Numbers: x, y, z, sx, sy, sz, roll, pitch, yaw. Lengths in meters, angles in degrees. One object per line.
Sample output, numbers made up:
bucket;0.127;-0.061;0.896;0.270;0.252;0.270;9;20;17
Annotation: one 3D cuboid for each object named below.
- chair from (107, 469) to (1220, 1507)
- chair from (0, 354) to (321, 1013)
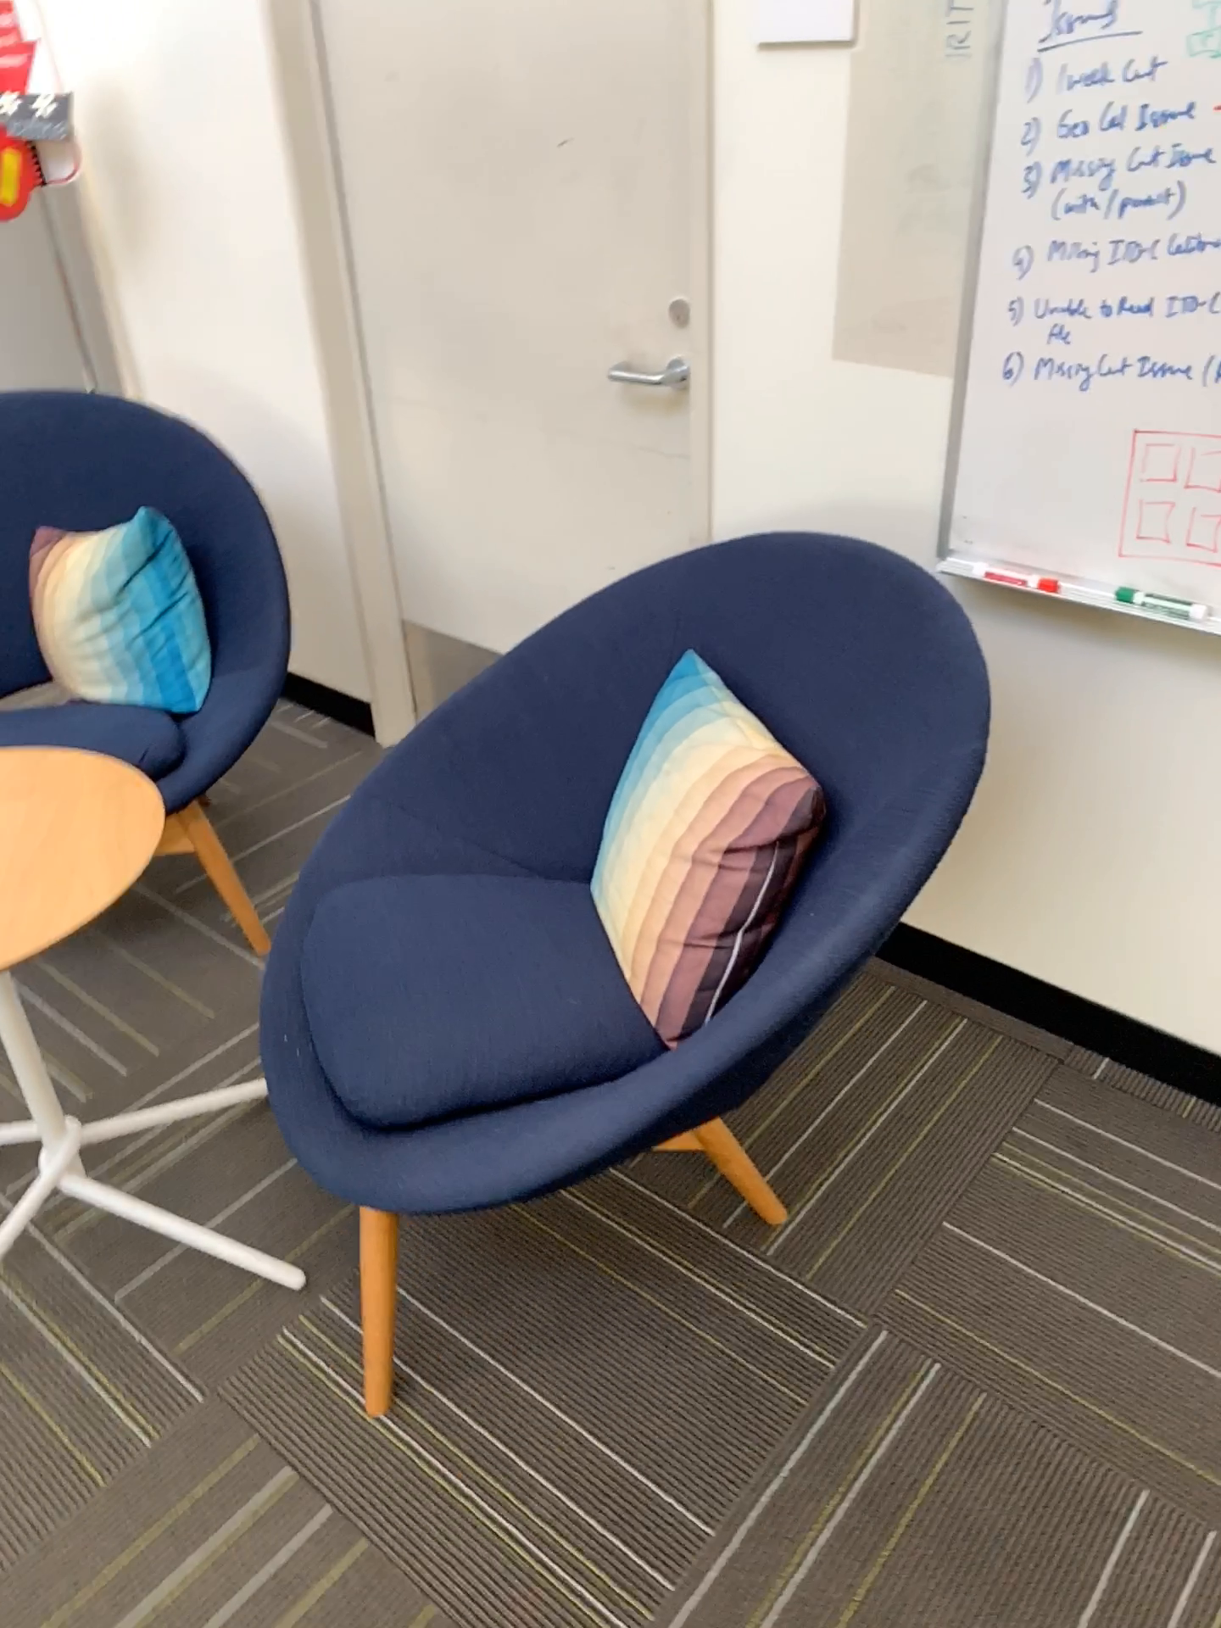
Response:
chair;0.026;0.172;1.683;0.980;0.944;0.835;-7;32;-6
chair;-1.009;-0.292;2.316;0.790;0.835;0.845;-8;33;-8
